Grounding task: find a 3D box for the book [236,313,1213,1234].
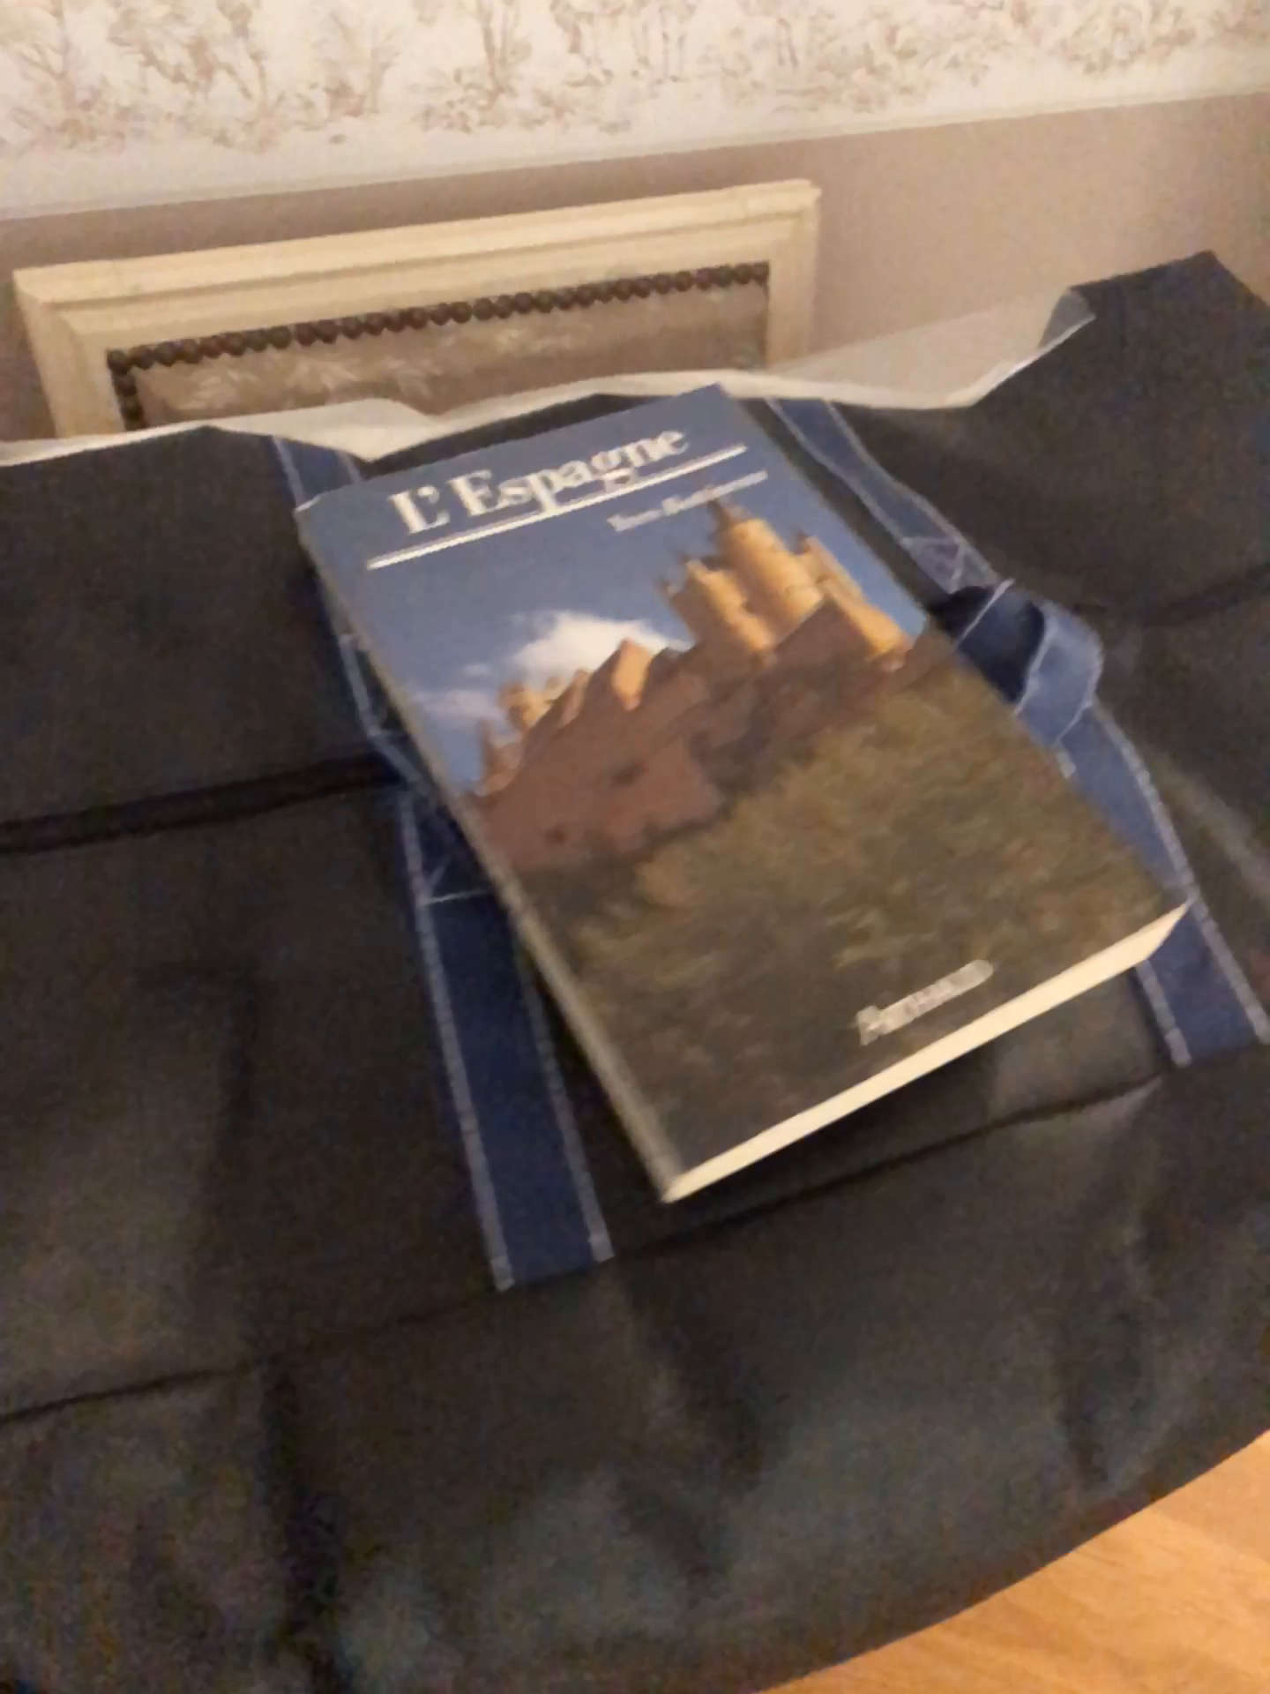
[{"bbox_3d":[0.015,-0.043,0.406,0.170,0.030,0.250,-25,64,-18],"label":"book"}]
